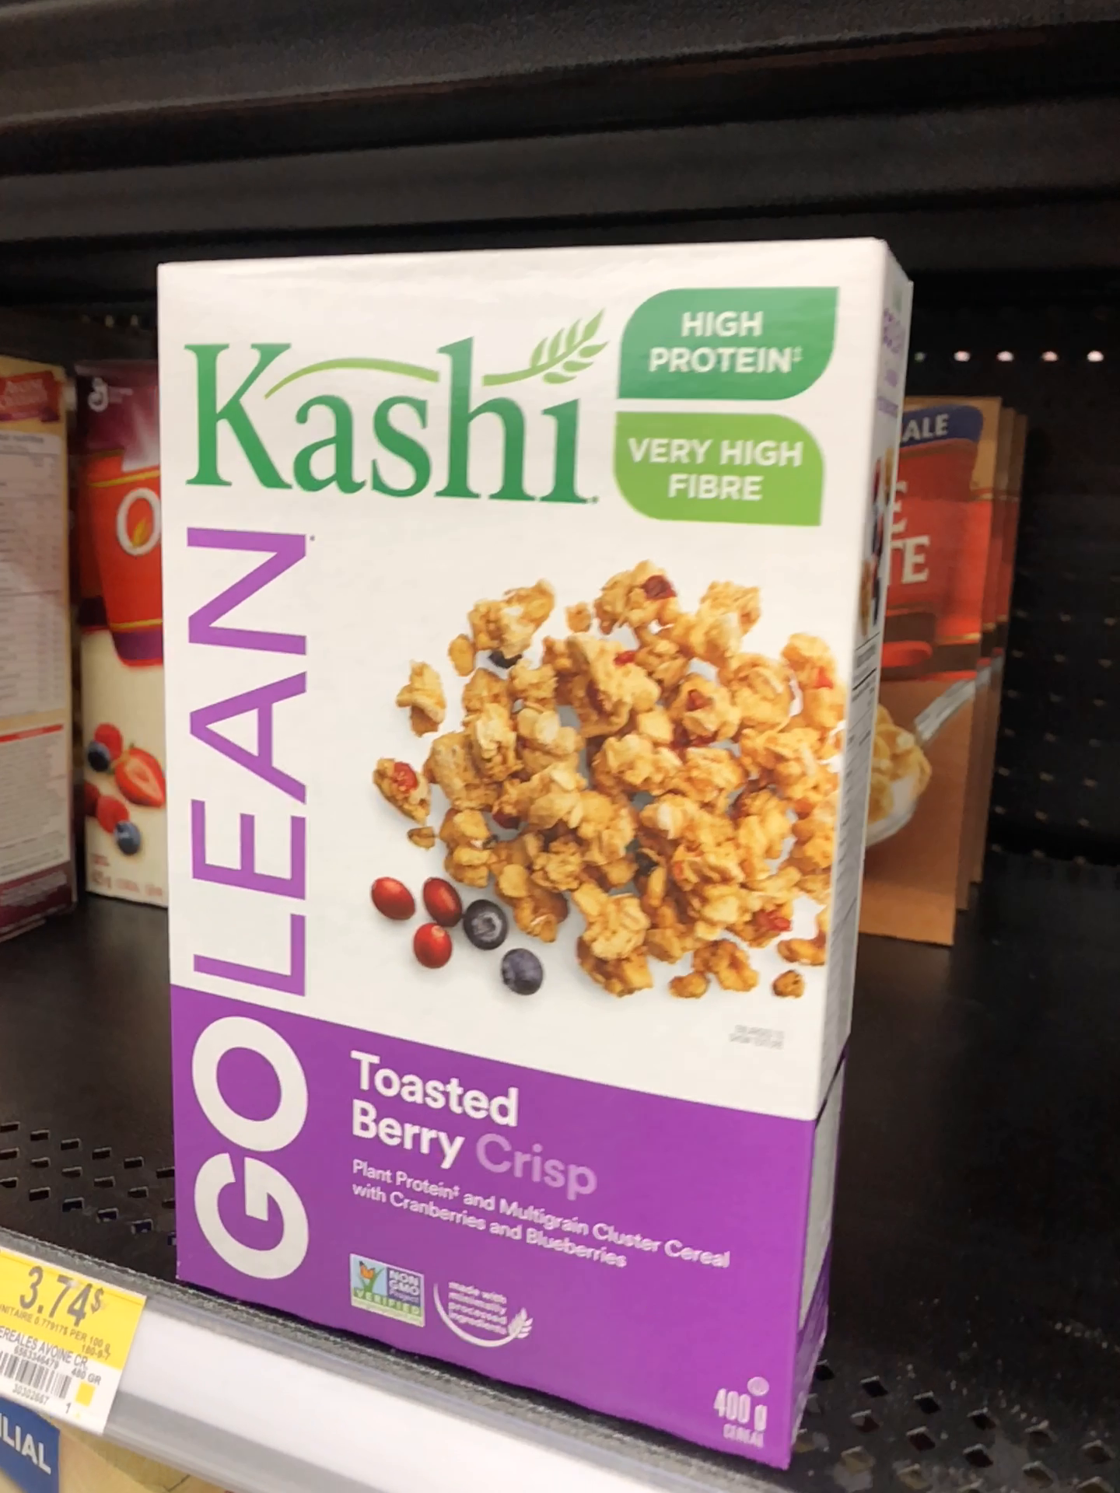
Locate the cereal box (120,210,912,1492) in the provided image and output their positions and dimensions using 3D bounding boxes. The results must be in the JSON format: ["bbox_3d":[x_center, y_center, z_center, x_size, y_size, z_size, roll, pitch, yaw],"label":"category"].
[{"bbox_3d":[-0.016,0.021,0.303,0.170,0.269,0.050,6,12,20],"label":"cereal box"}]
